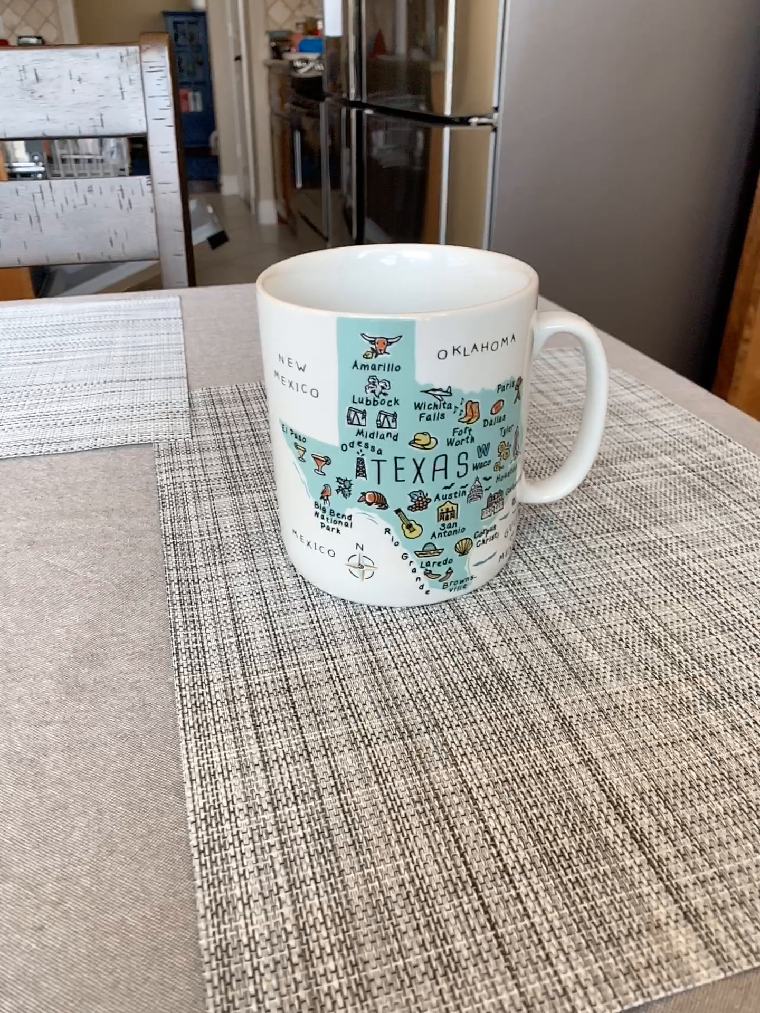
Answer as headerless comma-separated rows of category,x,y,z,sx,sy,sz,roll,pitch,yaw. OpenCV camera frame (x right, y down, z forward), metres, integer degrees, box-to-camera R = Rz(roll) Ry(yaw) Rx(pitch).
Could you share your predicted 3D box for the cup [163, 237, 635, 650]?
cup,0.008,-0.031,0.332,0.150,0.136,0.112,2,30,3
